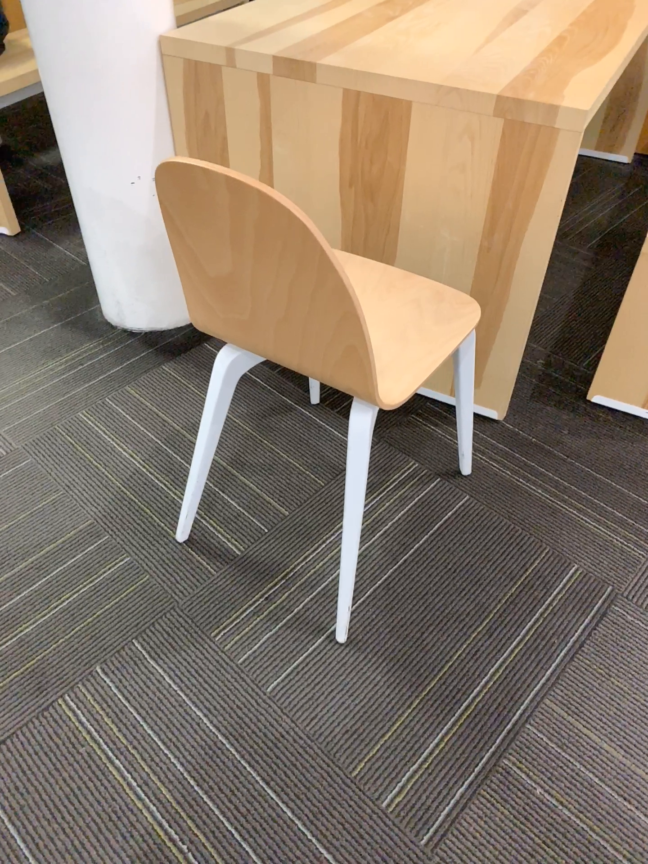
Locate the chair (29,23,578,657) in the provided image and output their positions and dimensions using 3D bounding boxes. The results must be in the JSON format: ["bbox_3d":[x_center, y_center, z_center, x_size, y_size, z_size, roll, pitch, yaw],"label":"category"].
[{"bbox_3d":[-0.002,-0.151,1.155,0.501,0.815,0.552,24,49,22],"label":"chair"}]
